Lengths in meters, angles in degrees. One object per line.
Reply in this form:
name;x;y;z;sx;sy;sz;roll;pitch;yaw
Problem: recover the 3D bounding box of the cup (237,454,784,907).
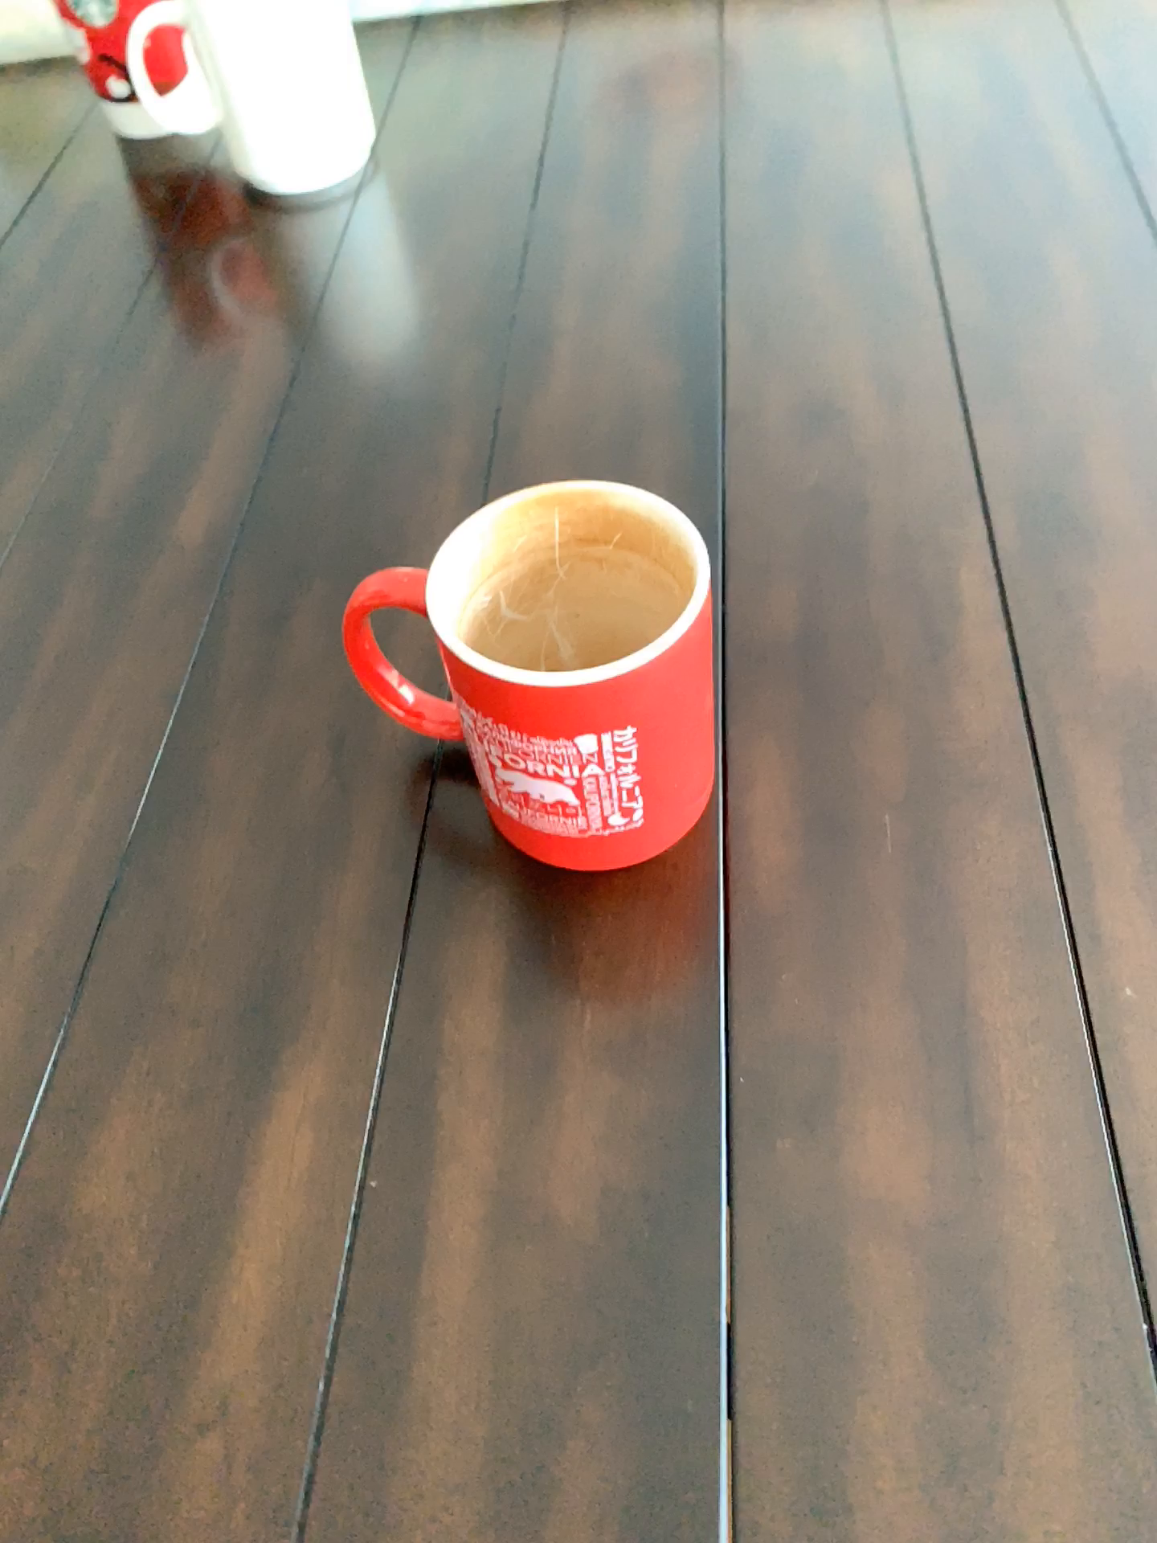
cup;-0.014;-0.032;0.387;0.140;0.080;0.100;10;54;15
